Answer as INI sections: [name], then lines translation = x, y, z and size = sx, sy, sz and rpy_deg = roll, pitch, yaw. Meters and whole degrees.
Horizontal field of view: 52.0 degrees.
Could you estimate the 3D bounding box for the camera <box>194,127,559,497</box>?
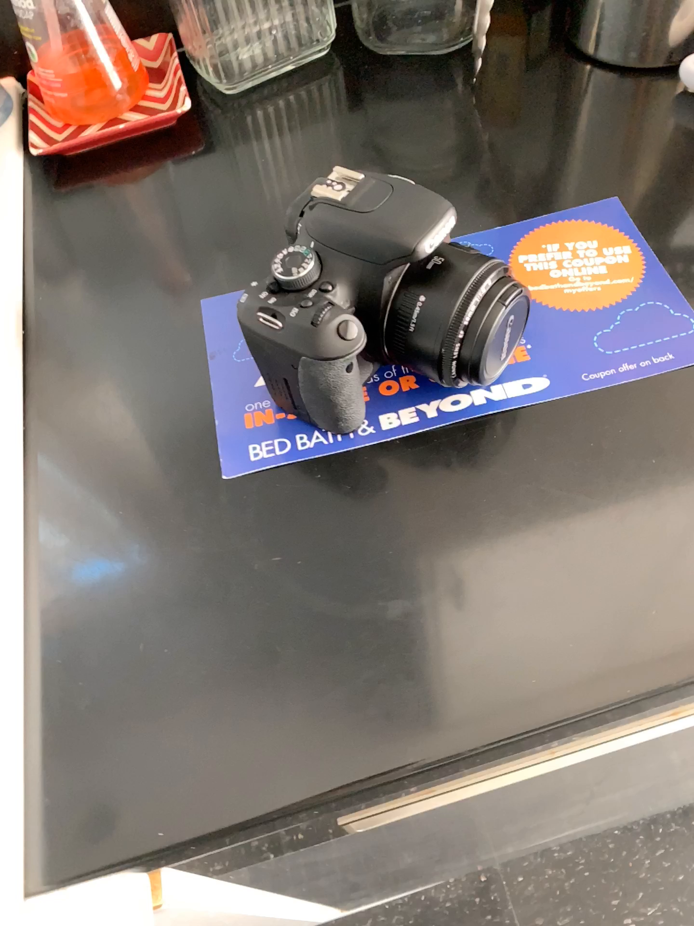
[camera]
translation = 0.020, -0.079, 0.363
size = 0.118, 0.098, 0.122
rpy_deg = 28, 65, 25
